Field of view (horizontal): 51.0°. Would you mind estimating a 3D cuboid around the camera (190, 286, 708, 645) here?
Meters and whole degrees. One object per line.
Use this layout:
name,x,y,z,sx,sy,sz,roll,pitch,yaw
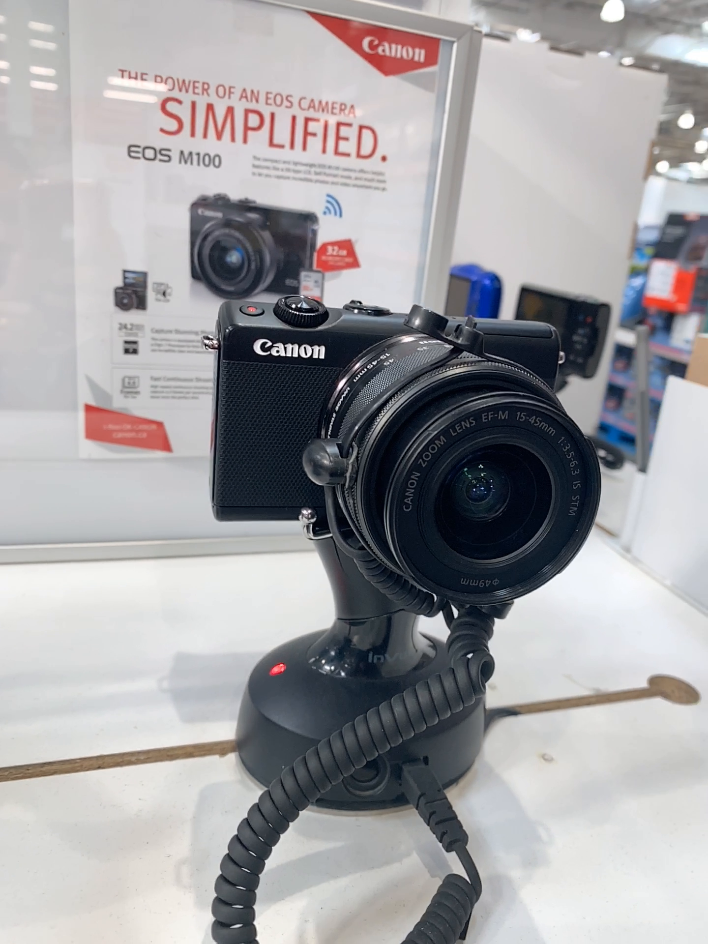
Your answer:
camera,0.016,-0.009,0.195,0.110,0.066,0.093,1,14,-15
